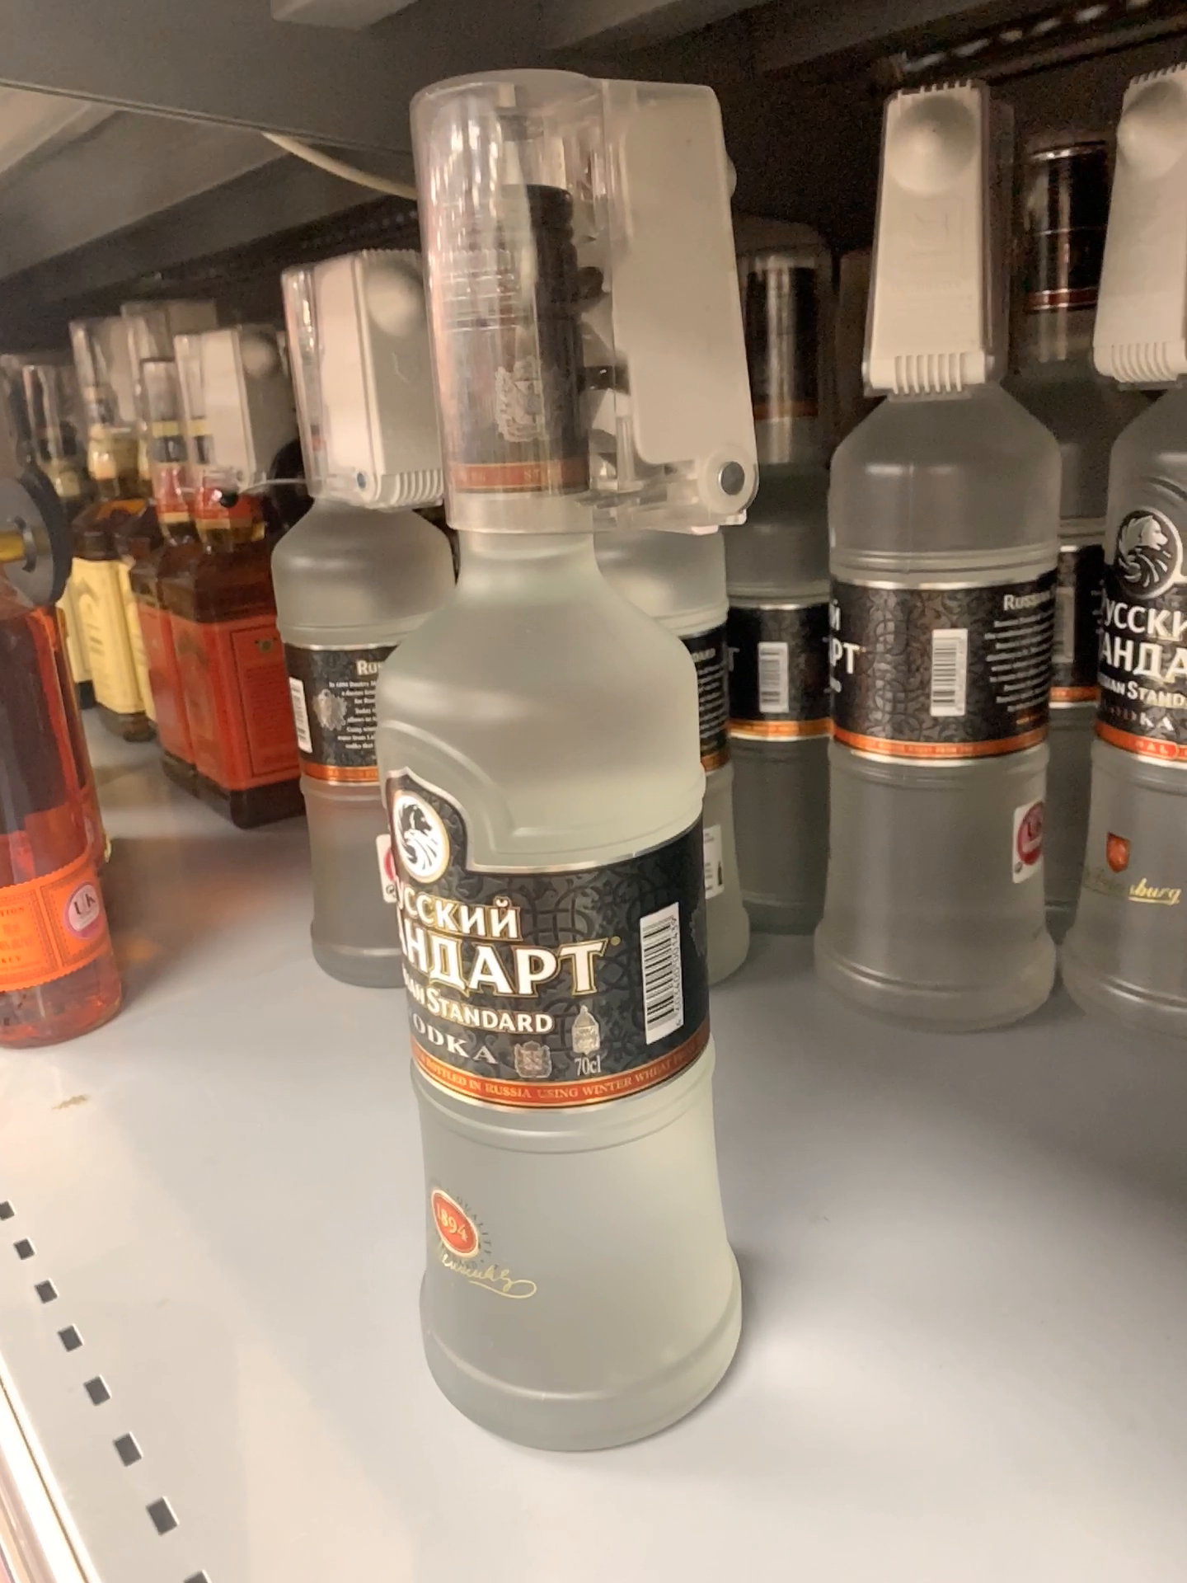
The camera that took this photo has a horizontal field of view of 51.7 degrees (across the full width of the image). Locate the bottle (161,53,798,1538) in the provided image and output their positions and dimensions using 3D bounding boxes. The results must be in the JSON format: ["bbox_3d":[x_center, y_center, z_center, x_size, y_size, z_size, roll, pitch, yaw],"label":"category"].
[{"bbox_3d":[-0.019,0.006,0.286,0.088,0.288,0.092,-4,17,1],"label":"bottle"}]
